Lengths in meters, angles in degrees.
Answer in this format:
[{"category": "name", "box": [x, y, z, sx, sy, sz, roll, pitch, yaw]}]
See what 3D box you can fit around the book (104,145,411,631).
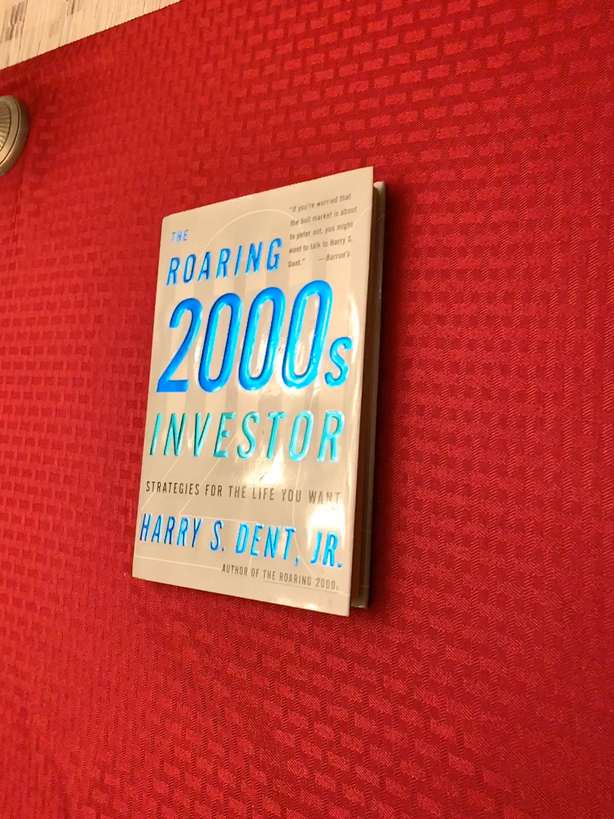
[{"category": "book", "box": [-0.032, -0.012, 0.368, 0.171, 0.040, 0.240, -1, 81, 32]}]
